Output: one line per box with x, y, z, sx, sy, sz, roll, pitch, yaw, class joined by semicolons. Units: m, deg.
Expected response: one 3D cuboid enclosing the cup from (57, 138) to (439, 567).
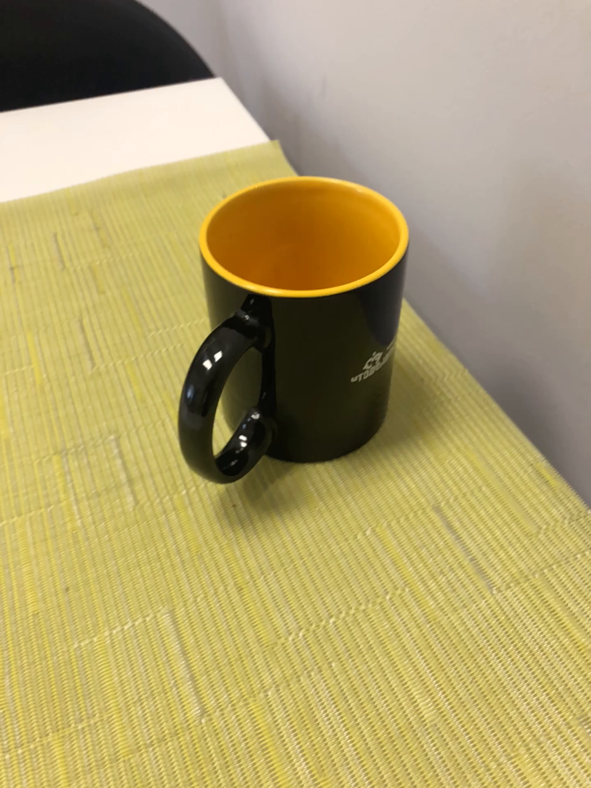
-0.009;-0.021;0.271;0.088;0.104;0.119;19;50;18;cup
